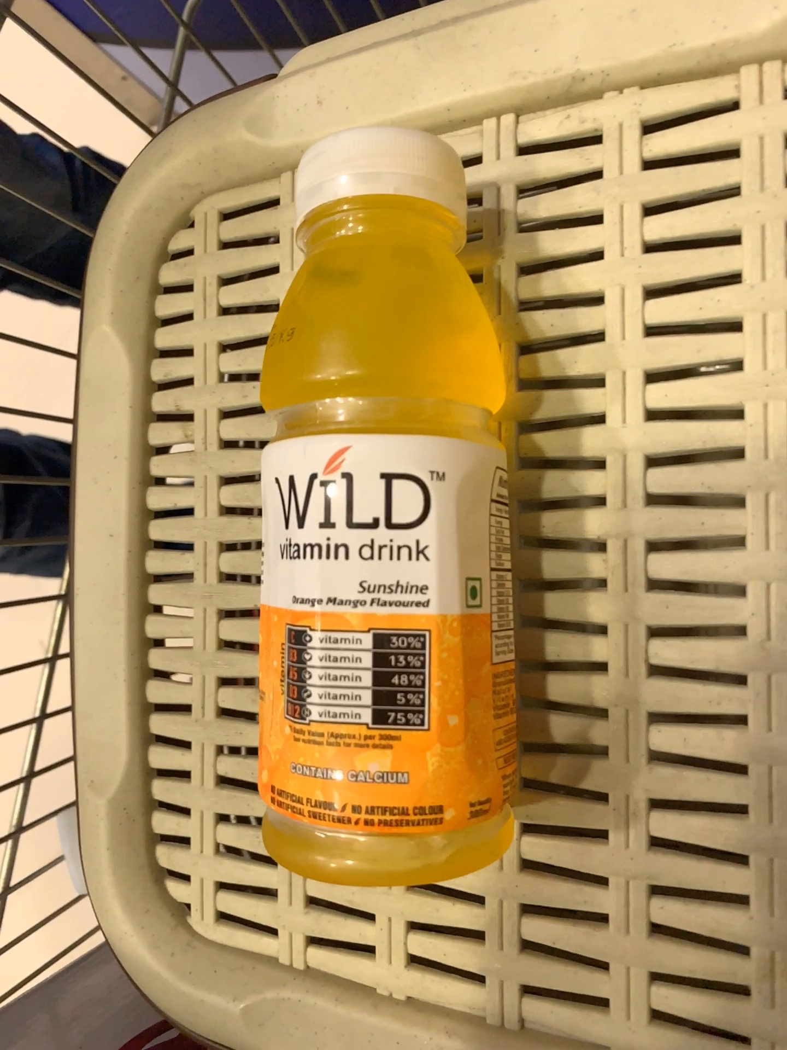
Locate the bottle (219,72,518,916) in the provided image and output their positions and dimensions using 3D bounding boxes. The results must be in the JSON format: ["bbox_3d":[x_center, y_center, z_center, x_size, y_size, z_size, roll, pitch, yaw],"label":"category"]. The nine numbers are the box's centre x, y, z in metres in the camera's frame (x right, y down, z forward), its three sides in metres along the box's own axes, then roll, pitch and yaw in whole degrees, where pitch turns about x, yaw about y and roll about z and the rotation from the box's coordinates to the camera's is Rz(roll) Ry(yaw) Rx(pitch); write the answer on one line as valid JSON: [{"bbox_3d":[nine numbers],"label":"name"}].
[{"bbox_3d":[-0.002,-0.006,0.200,0.060,0.060,0.170,-1,89,12],"label":"bottle"}]
